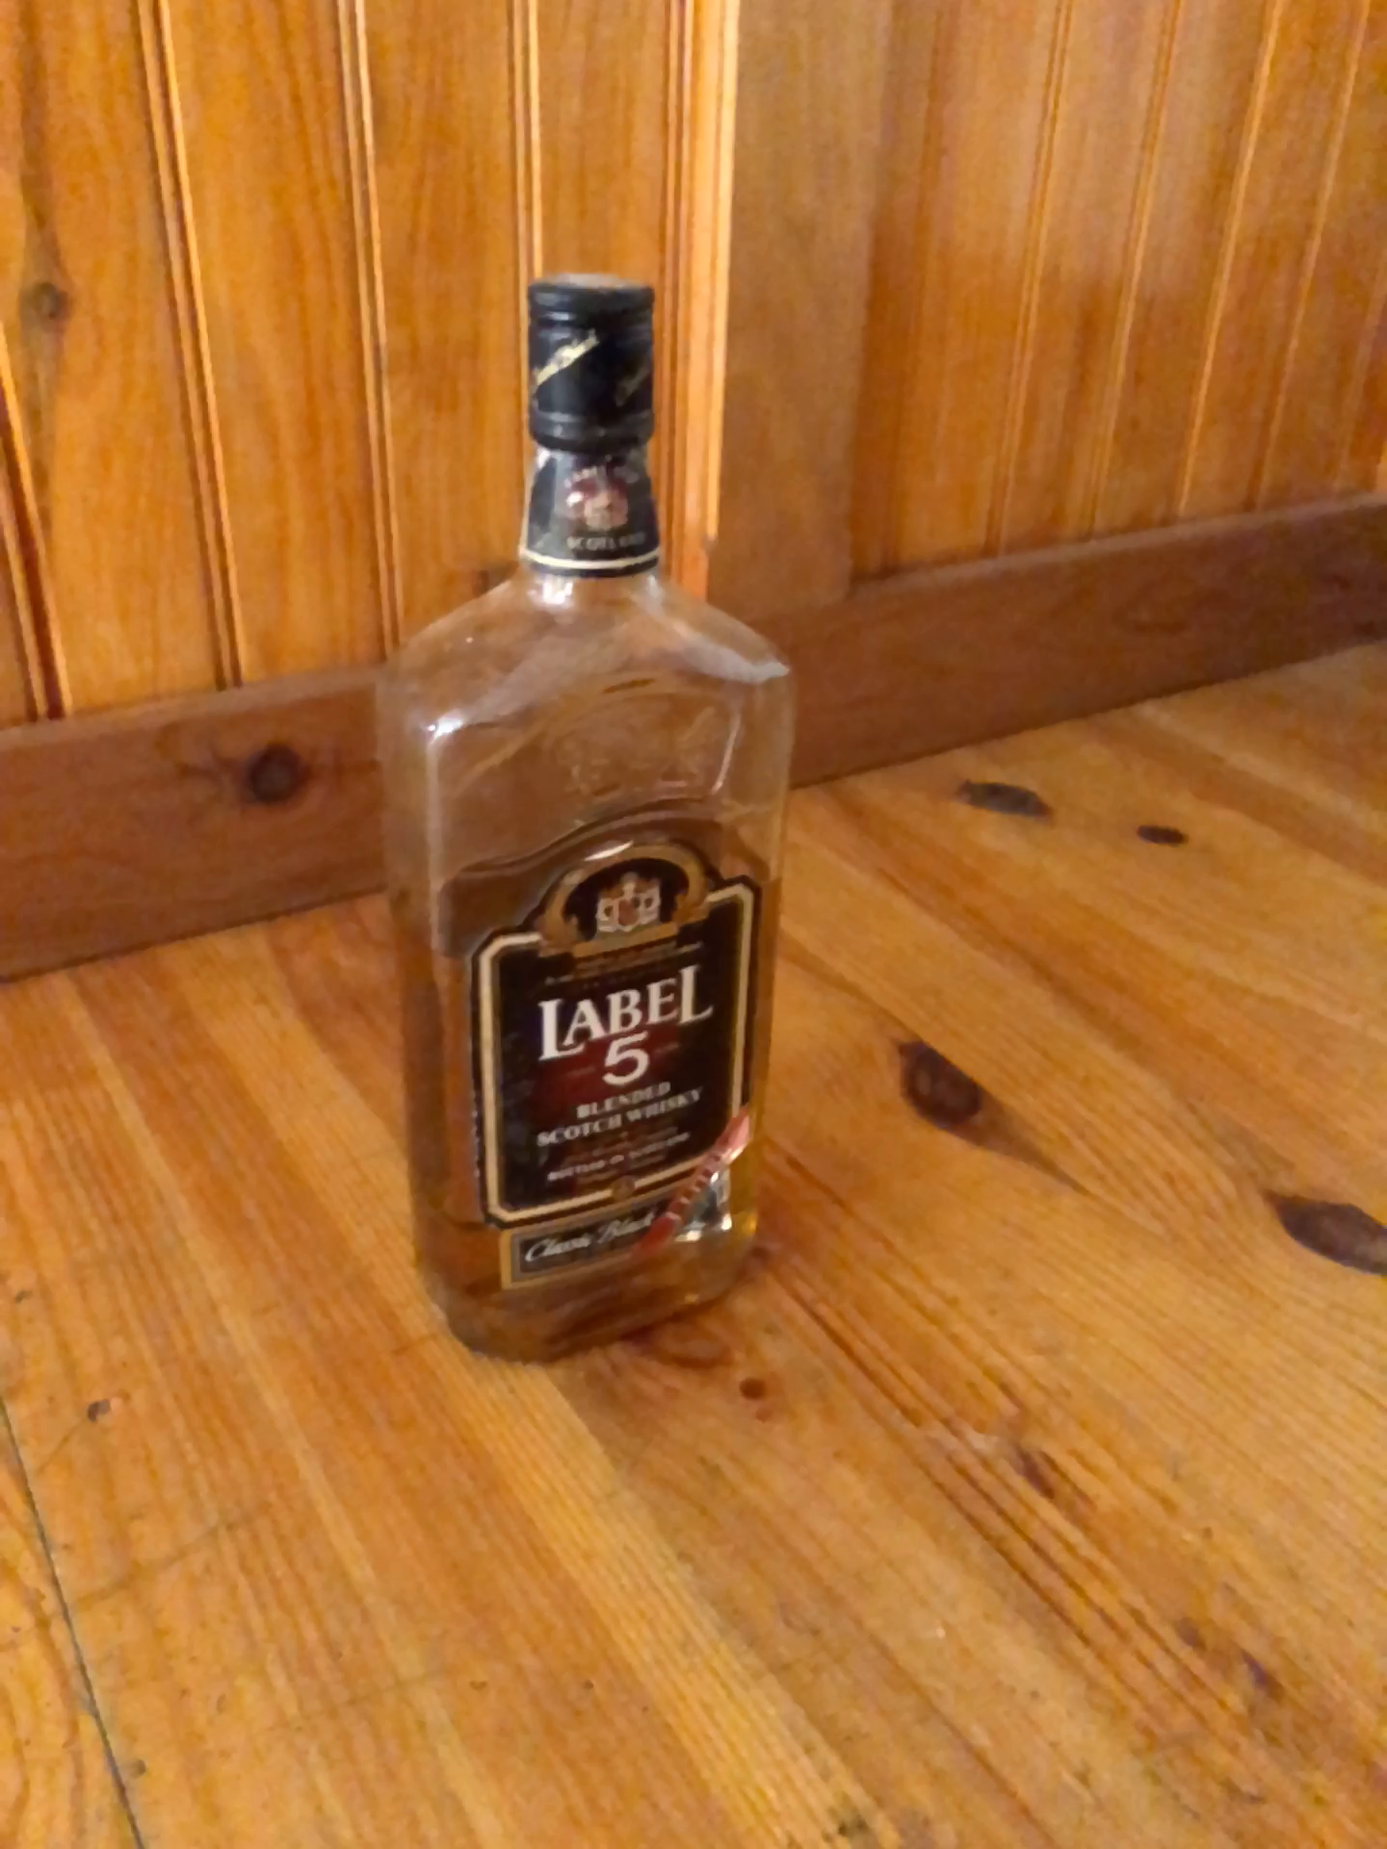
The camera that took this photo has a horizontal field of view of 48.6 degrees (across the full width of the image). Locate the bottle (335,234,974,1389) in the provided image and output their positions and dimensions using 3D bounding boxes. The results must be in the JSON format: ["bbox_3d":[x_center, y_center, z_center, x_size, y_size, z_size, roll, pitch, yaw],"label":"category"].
[{"bbox_3d":[-0.016,-0.024,0.416,0.120,0.288,0.080,-13,34,-24],"label":"bottle"}]
